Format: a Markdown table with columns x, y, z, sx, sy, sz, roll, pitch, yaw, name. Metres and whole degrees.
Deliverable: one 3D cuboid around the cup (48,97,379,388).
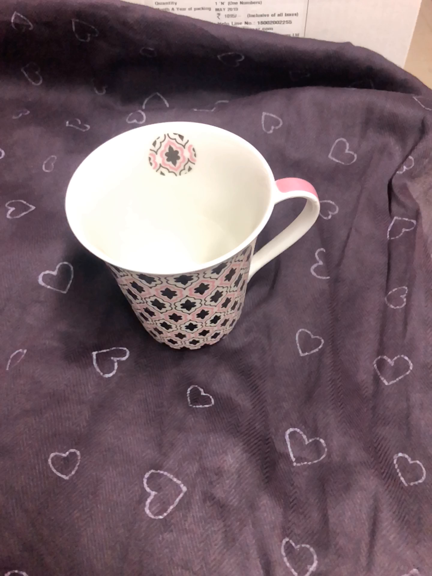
| x | y | z | sx | sy | sz | roll | pitch | yaw | name |
| --- | --- | --- | --- | --- | --- | --- | --- | --- | --- |
| -0.007 | -0.023 | 0.236 | 0.120 | 0.080 | 0.090 | -12 | 55 | -9 | cup |
